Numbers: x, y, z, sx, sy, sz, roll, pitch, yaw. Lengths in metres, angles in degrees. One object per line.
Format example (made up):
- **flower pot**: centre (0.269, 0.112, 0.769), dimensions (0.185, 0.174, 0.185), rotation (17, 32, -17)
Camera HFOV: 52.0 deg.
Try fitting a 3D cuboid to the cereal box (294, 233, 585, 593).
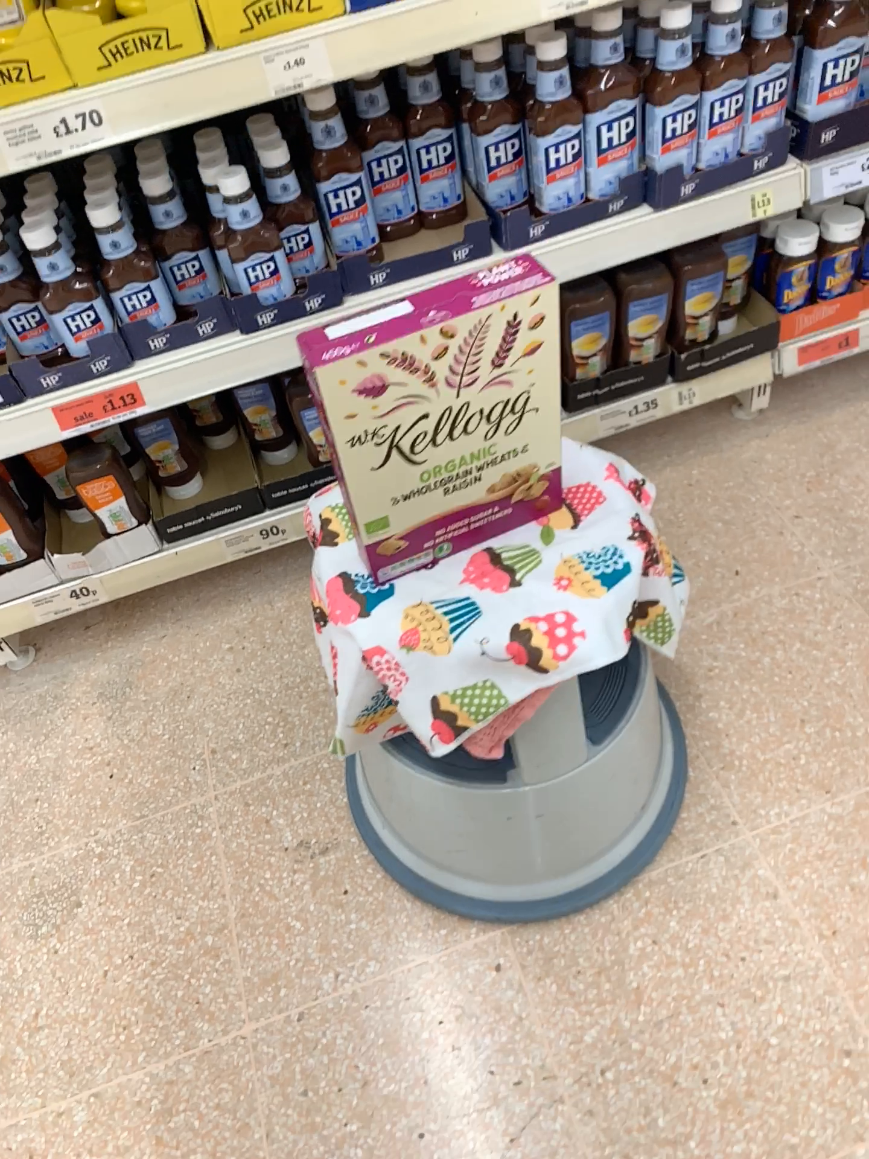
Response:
- **cereal box**: centre (0.019, -0.123, 0.724), dimensions (0.200, 0.248, 0.050), rotation (-23, 49, -9)
